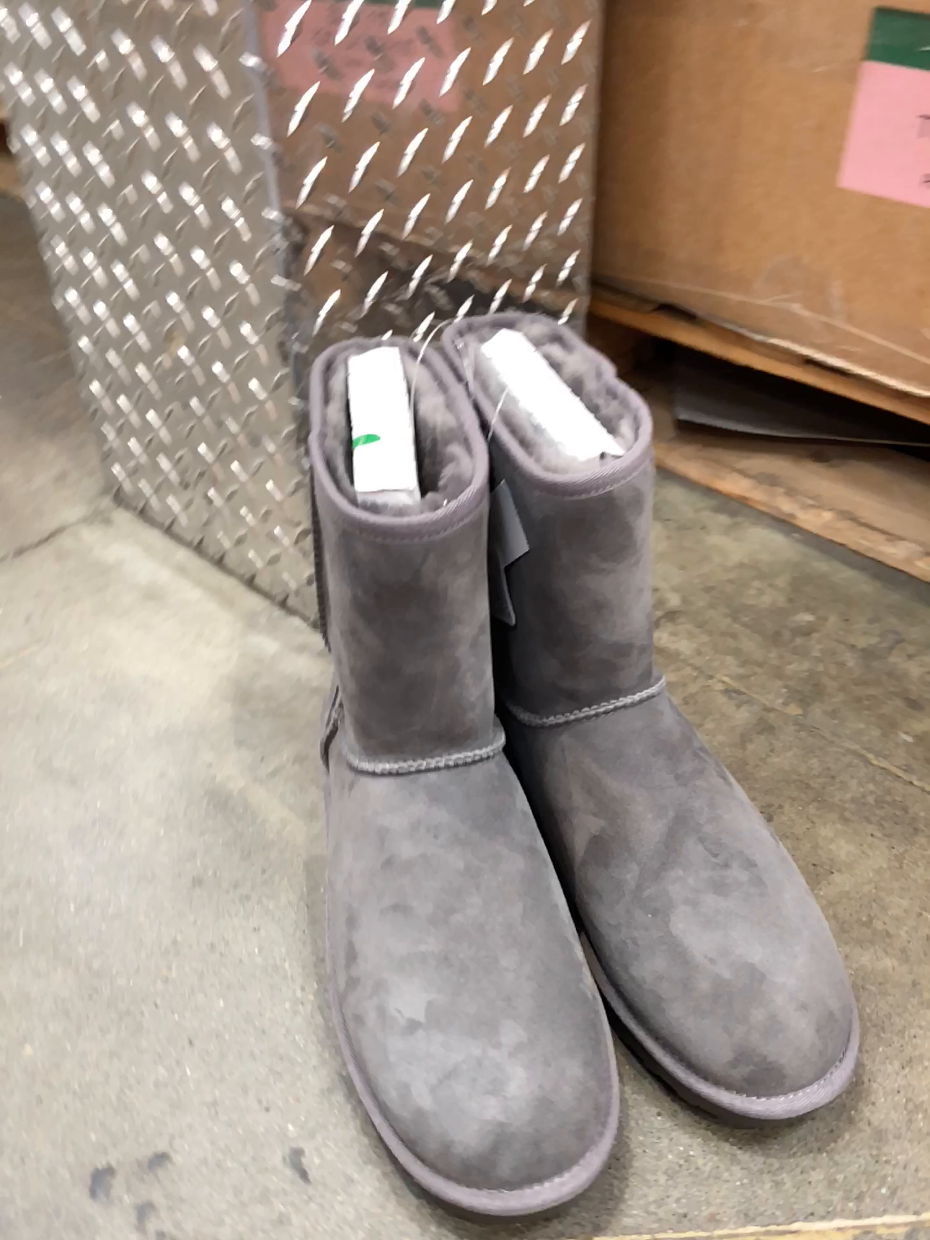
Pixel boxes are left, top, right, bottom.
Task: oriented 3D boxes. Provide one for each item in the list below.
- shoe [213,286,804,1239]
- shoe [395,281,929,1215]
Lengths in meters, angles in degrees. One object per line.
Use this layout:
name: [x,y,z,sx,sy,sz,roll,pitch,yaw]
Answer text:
shoe: [-0.012,0.042,0.404,0.120,0.239,0.281,-9,39,-10]
shoe: [0.076,0.033,0.418,0.110,0.239,0.271,-15,40,-17]
